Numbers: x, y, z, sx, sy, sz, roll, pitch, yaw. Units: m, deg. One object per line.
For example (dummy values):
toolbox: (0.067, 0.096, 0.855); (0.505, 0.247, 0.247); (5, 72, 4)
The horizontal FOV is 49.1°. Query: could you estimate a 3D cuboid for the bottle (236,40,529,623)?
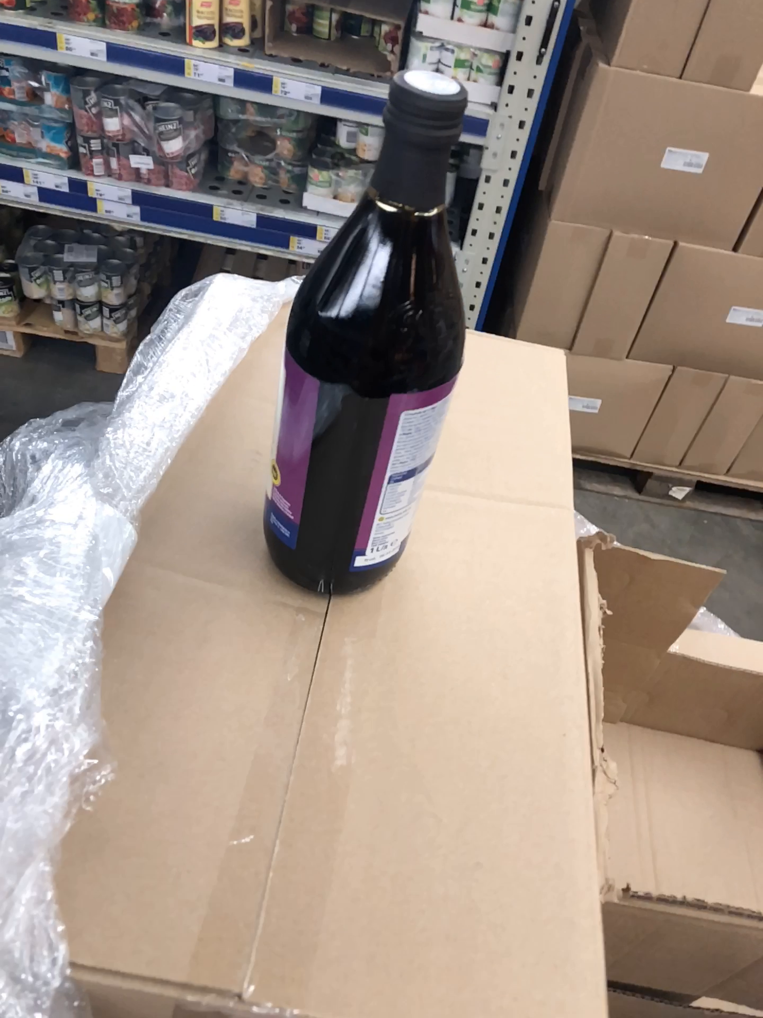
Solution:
bottle: (-0.009, -0.067, 0.410); (0.090, 0.257, 0.091); (7, 44, -7)
